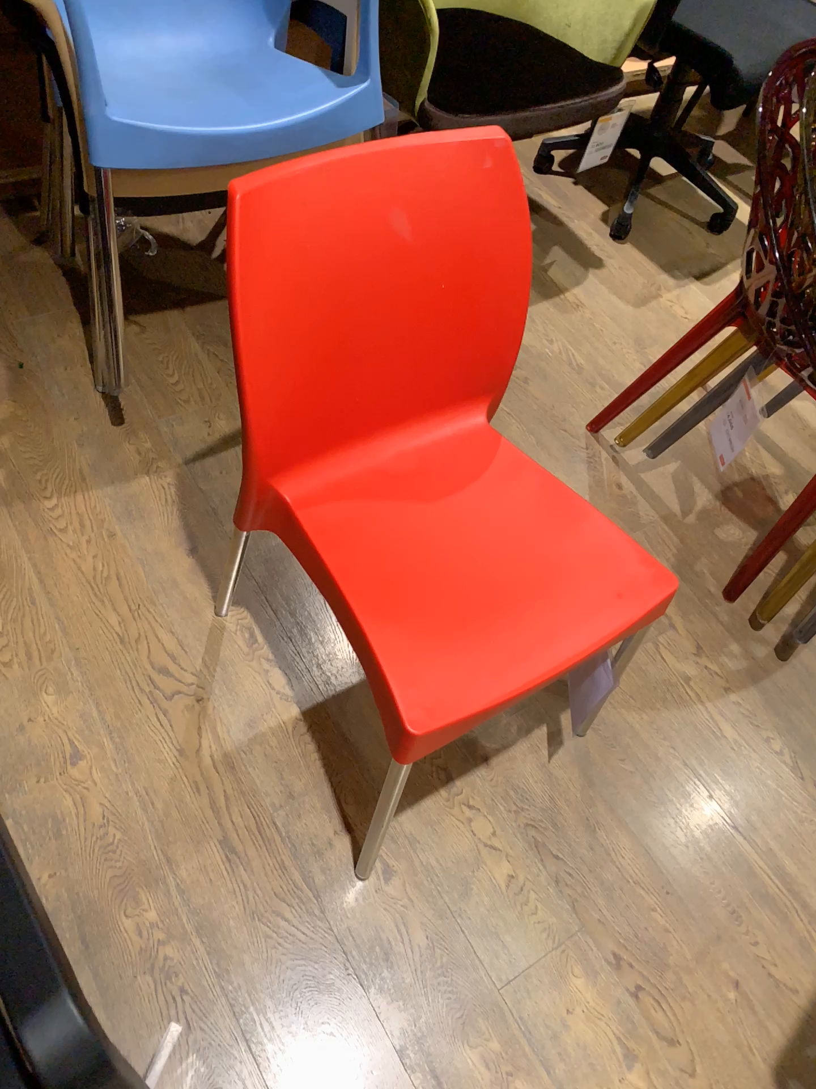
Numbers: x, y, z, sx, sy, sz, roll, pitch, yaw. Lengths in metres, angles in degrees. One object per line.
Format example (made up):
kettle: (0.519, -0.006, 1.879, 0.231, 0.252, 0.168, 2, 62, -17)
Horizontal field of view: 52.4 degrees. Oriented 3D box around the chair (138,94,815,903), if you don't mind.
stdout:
chair: (0.051, -0.021, 1.116, 0.521, 0.788, 0.591, -25, 63, -26)
